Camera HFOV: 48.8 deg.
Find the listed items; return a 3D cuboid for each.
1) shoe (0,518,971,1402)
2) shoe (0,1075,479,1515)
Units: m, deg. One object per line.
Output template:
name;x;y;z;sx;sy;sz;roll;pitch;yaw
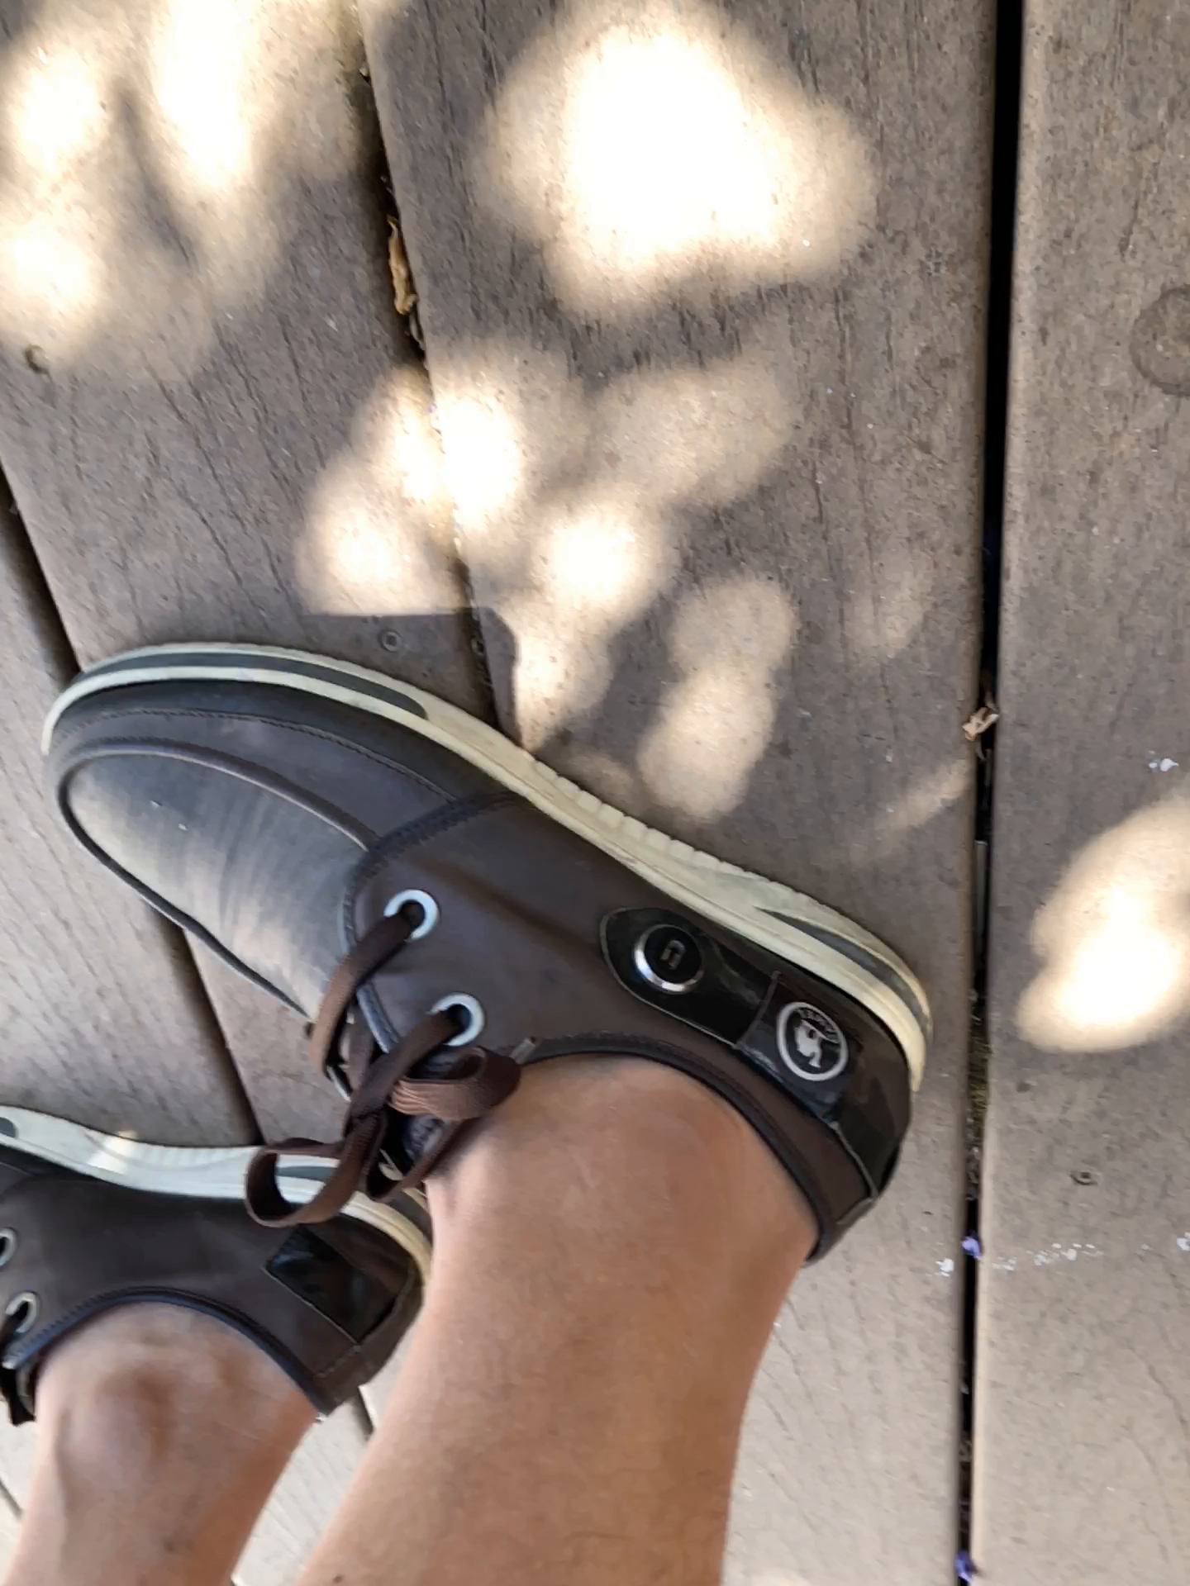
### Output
shoe;-0.050;0.044;0.360;0.276;0.089;0.104;25;127;1
shoe;-0.203;0.185;0.510;0.283;0.096;0.104;-3;121;20
